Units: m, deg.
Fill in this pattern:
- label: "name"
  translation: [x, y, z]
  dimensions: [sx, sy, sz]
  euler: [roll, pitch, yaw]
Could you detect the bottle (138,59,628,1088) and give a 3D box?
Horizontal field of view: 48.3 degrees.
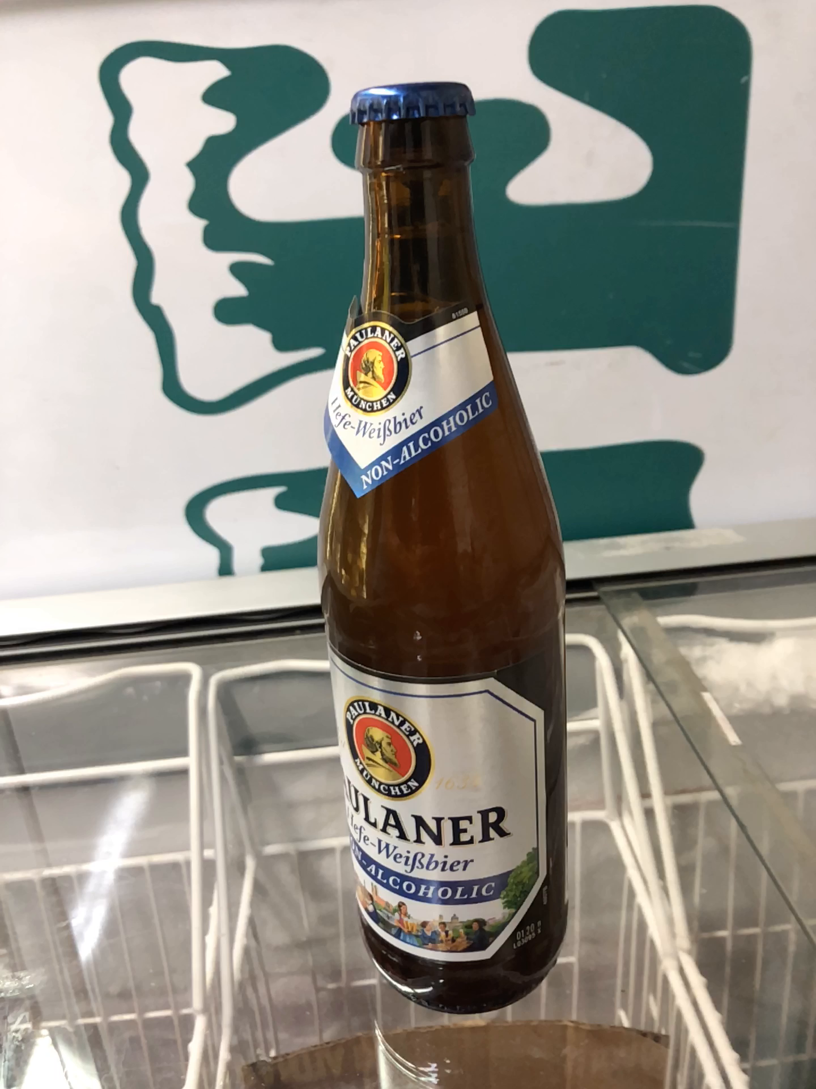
- label: "bottle"
  translation: [0.003, 0.015, 0.244]
  dimensions: [0.080, 0.248, 0.070]
  euler: [14, 29, 38]
